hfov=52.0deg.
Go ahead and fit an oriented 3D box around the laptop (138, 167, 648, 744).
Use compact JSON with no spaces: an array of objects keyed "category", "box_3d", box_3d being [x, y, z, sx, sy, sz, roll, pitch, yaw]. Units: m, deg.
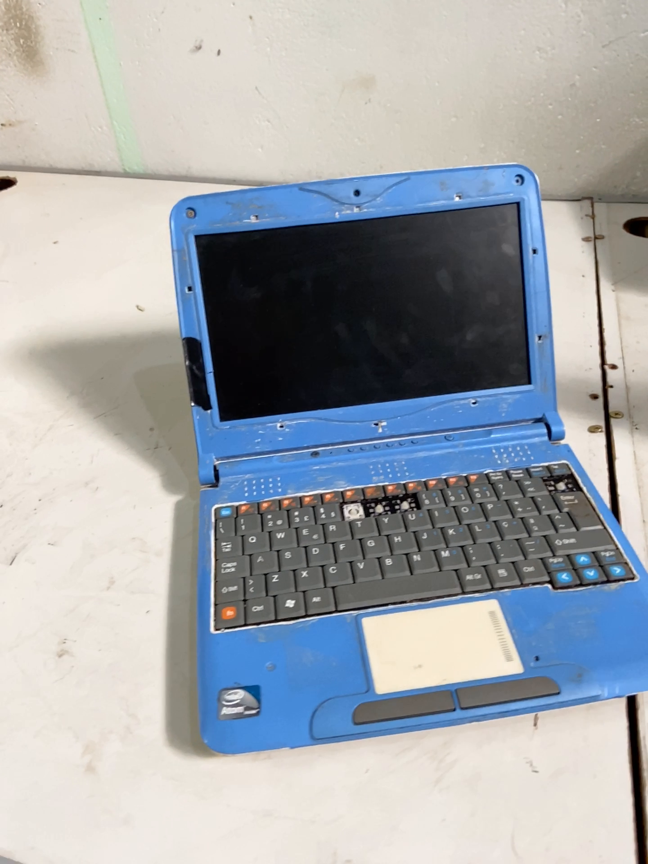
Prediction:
[{"category":"laptop","box_3d":[0.041,-0.015,0.383,0.240,0.149,0.288,-7,42,-4]}]
